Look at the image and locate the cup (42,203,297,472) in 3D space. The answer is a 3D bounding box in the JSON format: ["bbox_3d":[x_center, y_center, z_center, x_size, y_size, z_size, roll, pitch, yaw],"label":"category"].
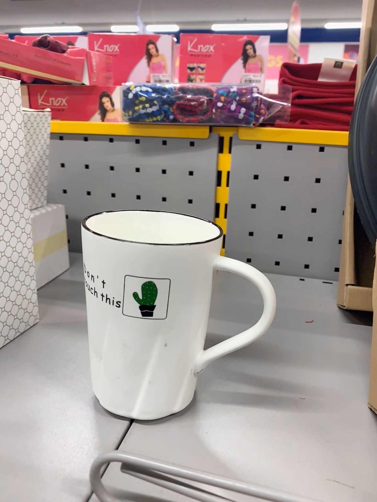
[{"bbox_3d":[-0.006,0.042,0.254,0.130,0.120,0.090,8,18,17],"label":"cup"}]
